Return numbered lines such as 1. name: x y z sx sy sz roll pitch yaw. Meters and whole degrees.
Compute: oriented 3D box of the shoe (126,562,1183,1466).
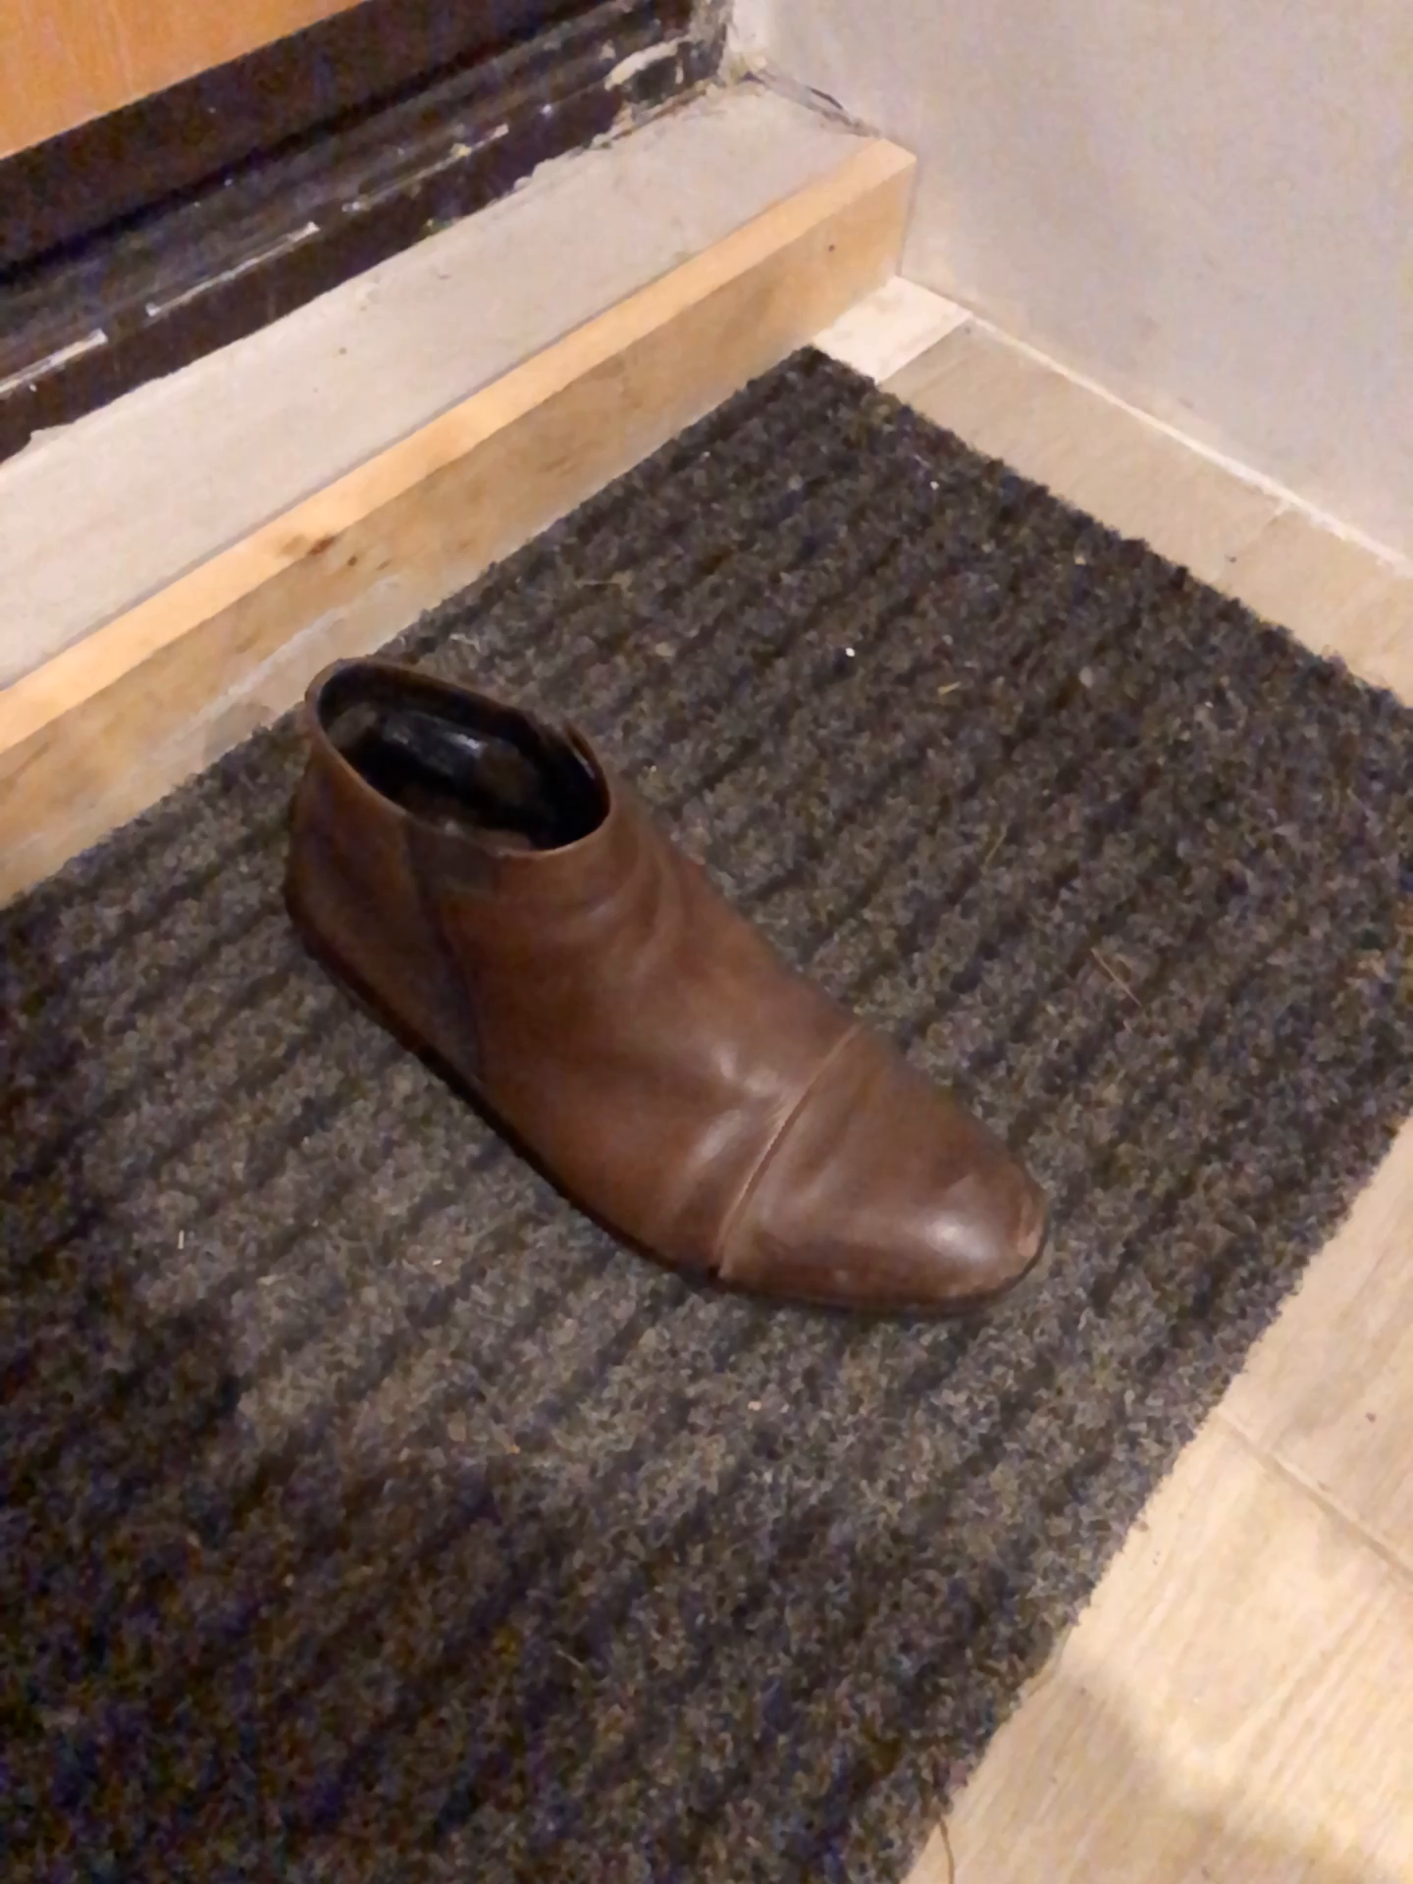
1. shoe: -0.024 0.020 0.506 0.300 0.129 0.110 31 59 15
